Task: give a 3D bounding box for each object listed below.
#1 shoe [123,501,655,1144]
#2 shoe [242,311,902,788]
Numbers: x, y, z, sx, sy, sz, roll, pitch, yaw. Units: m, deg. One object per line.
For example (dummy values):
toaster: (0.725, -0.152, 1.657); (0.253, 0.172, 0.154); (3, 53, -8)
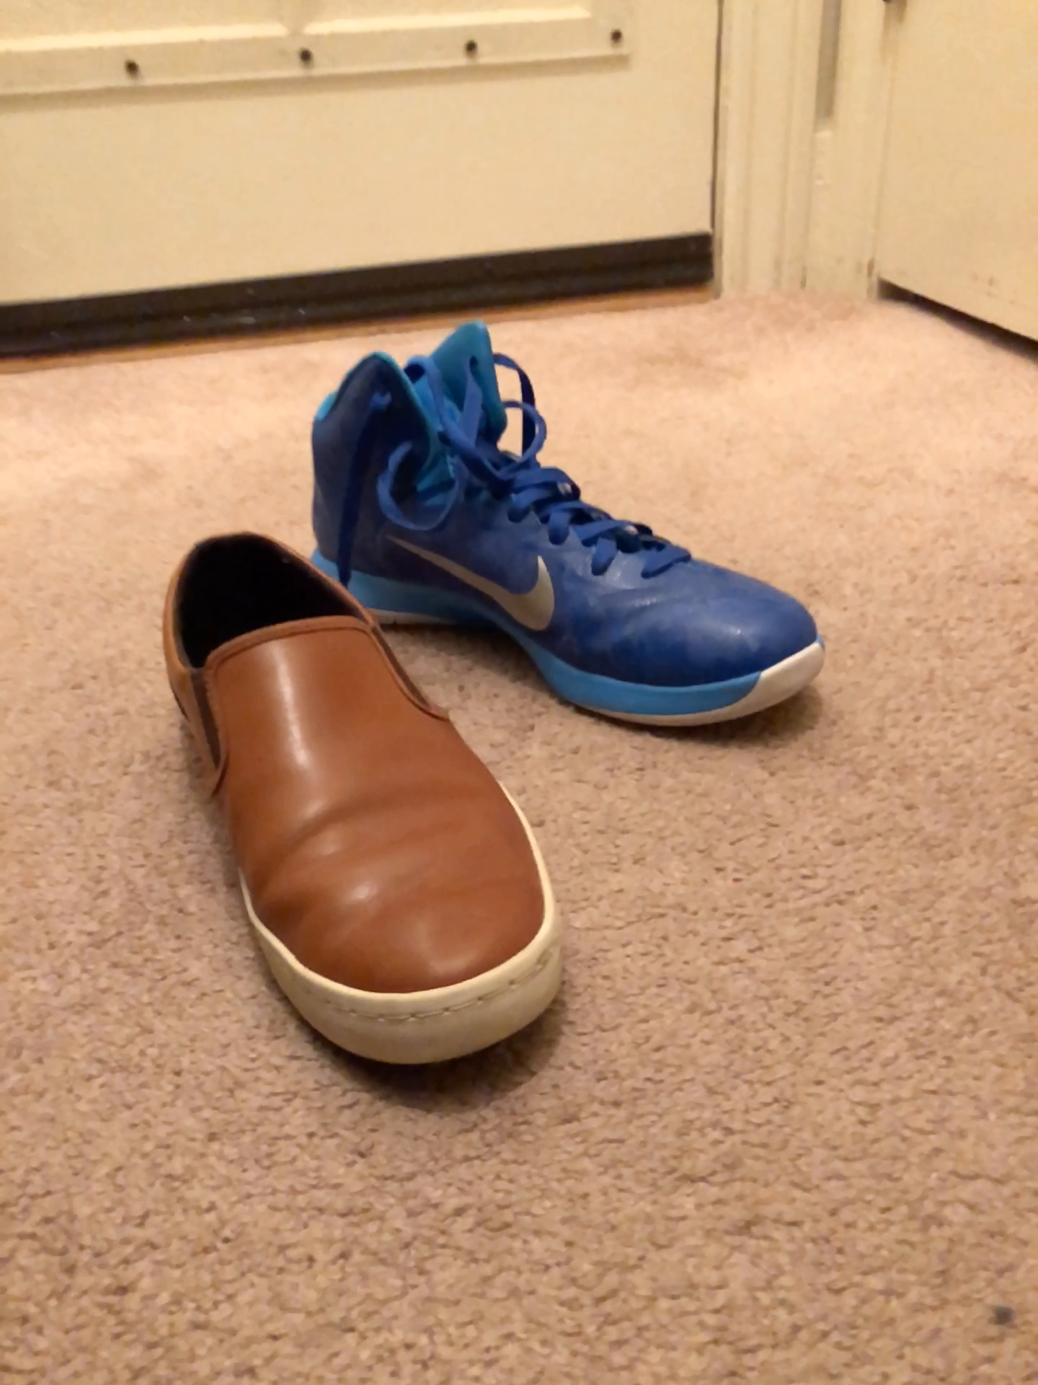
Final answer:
shoe: (-0.067, 0.019, 0.441); (0.105, 0.083, 0.283); (-16, 33, -21)
shoe: (0.016, -0.088, 0.561); (0.293, 0.142, 0.115); (20, 38, 34)
